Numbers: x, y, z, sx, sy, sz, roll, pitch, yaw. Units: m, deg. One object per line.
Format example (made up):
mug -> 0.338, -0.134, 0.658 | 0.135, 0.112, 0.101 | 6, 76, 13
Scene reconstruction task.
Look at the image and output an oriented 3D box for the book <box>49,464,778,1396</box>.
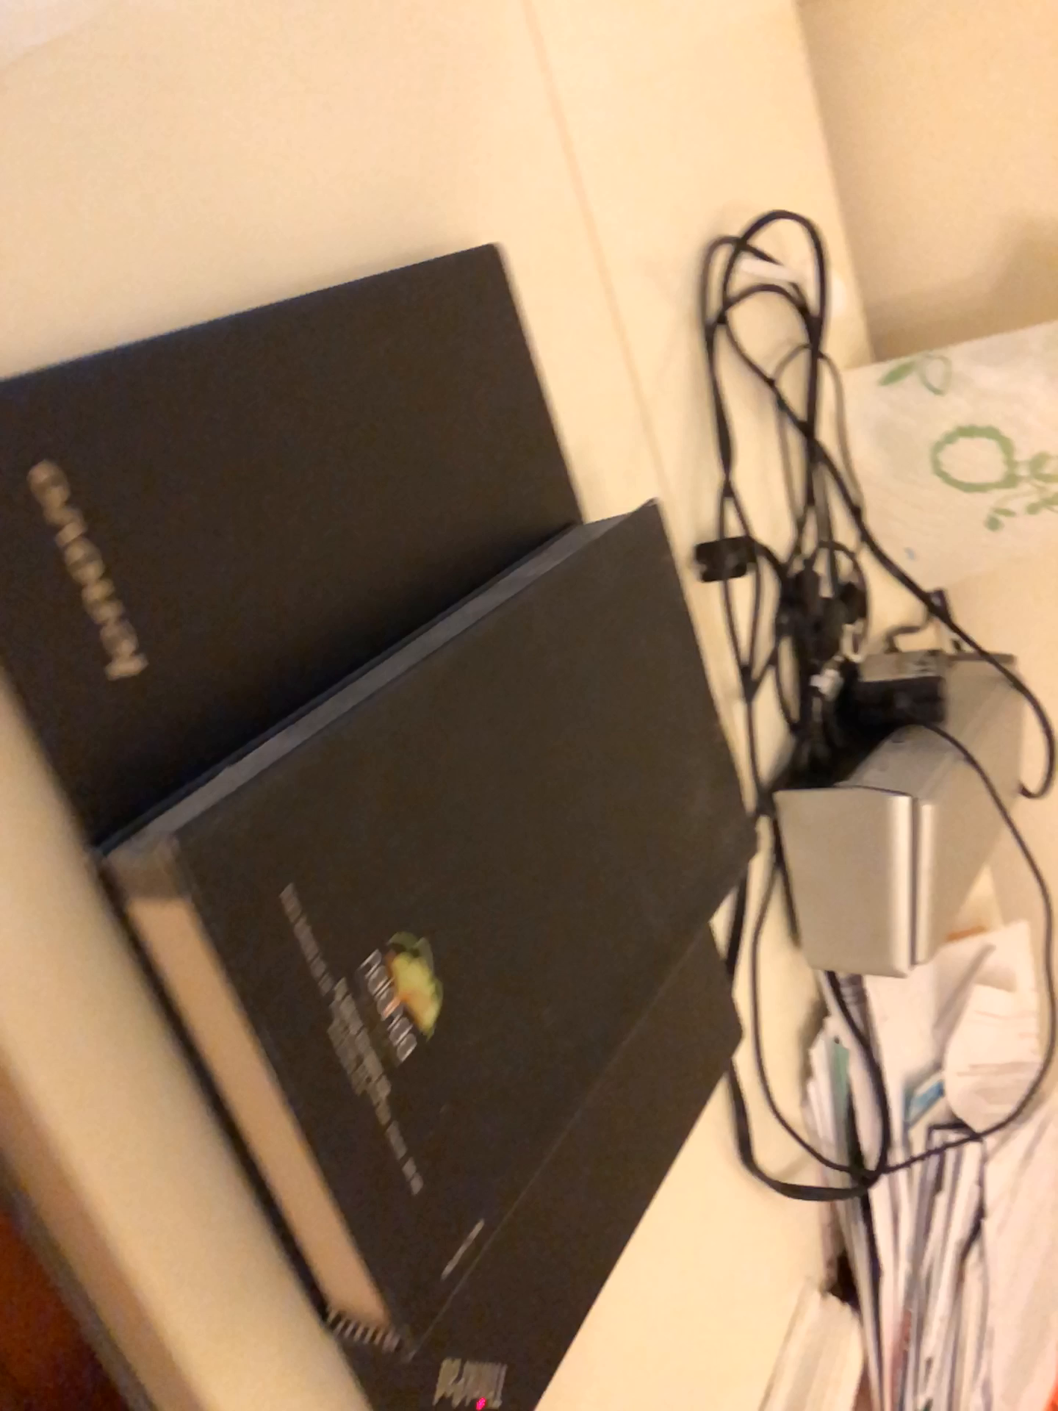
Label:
book -> -0.002, 0.039, 0.339 | 0.231, 0.040, 0.150 | -43, 120, -49
